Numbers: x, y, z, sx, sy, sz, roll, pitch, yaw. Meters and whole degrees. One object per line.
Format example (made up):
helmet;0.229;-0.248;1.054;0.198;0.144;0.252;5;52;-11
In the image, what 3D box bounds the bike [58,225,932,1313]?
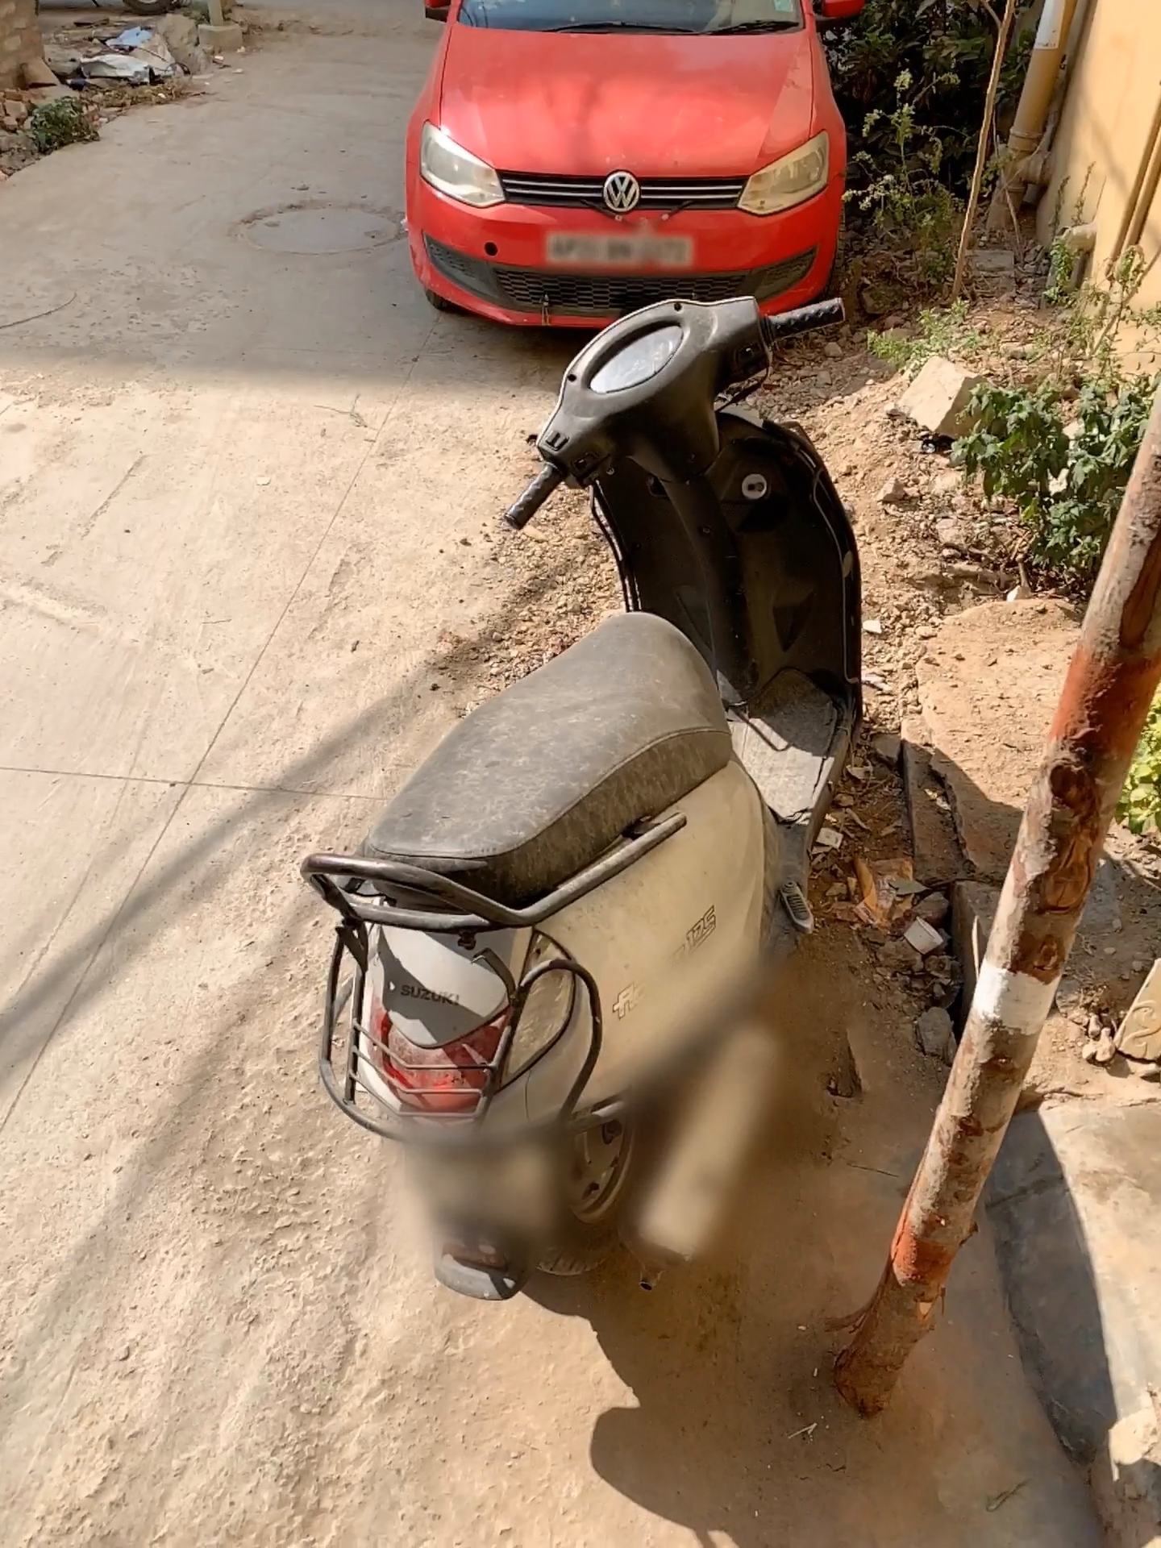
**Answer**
bike;0.050;-0.141;1.918;0.549;1.000;1.514;16;42;17
